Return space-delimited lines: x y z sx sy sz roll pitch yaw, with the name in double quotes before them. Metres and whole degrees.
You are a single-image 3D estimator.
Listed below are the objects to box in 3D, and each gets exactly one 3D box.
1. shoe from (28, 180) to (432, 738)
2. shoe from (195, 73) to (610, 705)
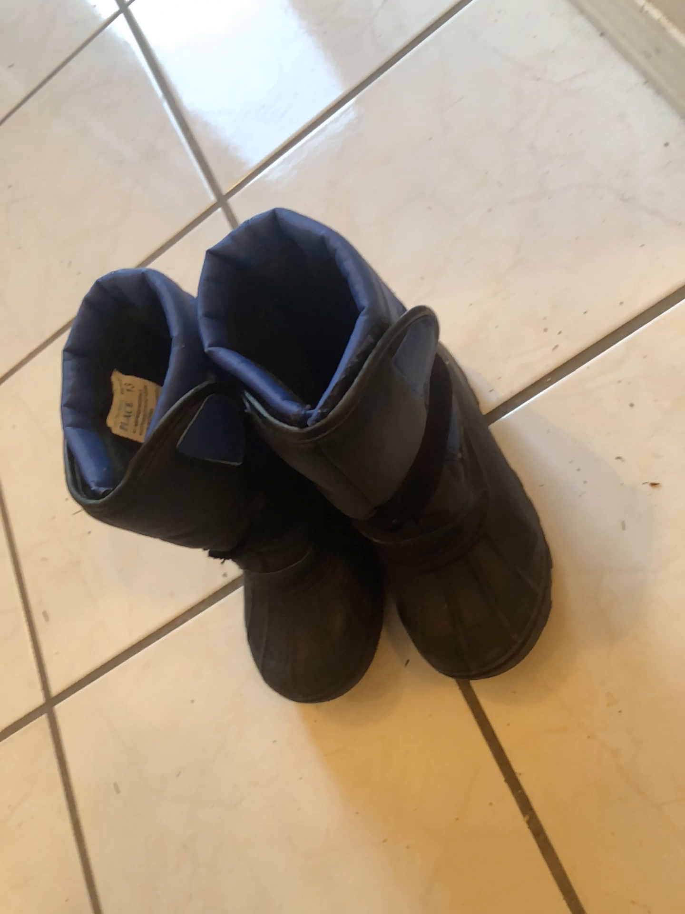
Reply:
"shoe" -0.053 0.019 0.410 0.100 0.199 0.231 -17 68 23
"shoe" 0.036 -0.013 0.390 0.100 0.199 0.251 -19 67 22
